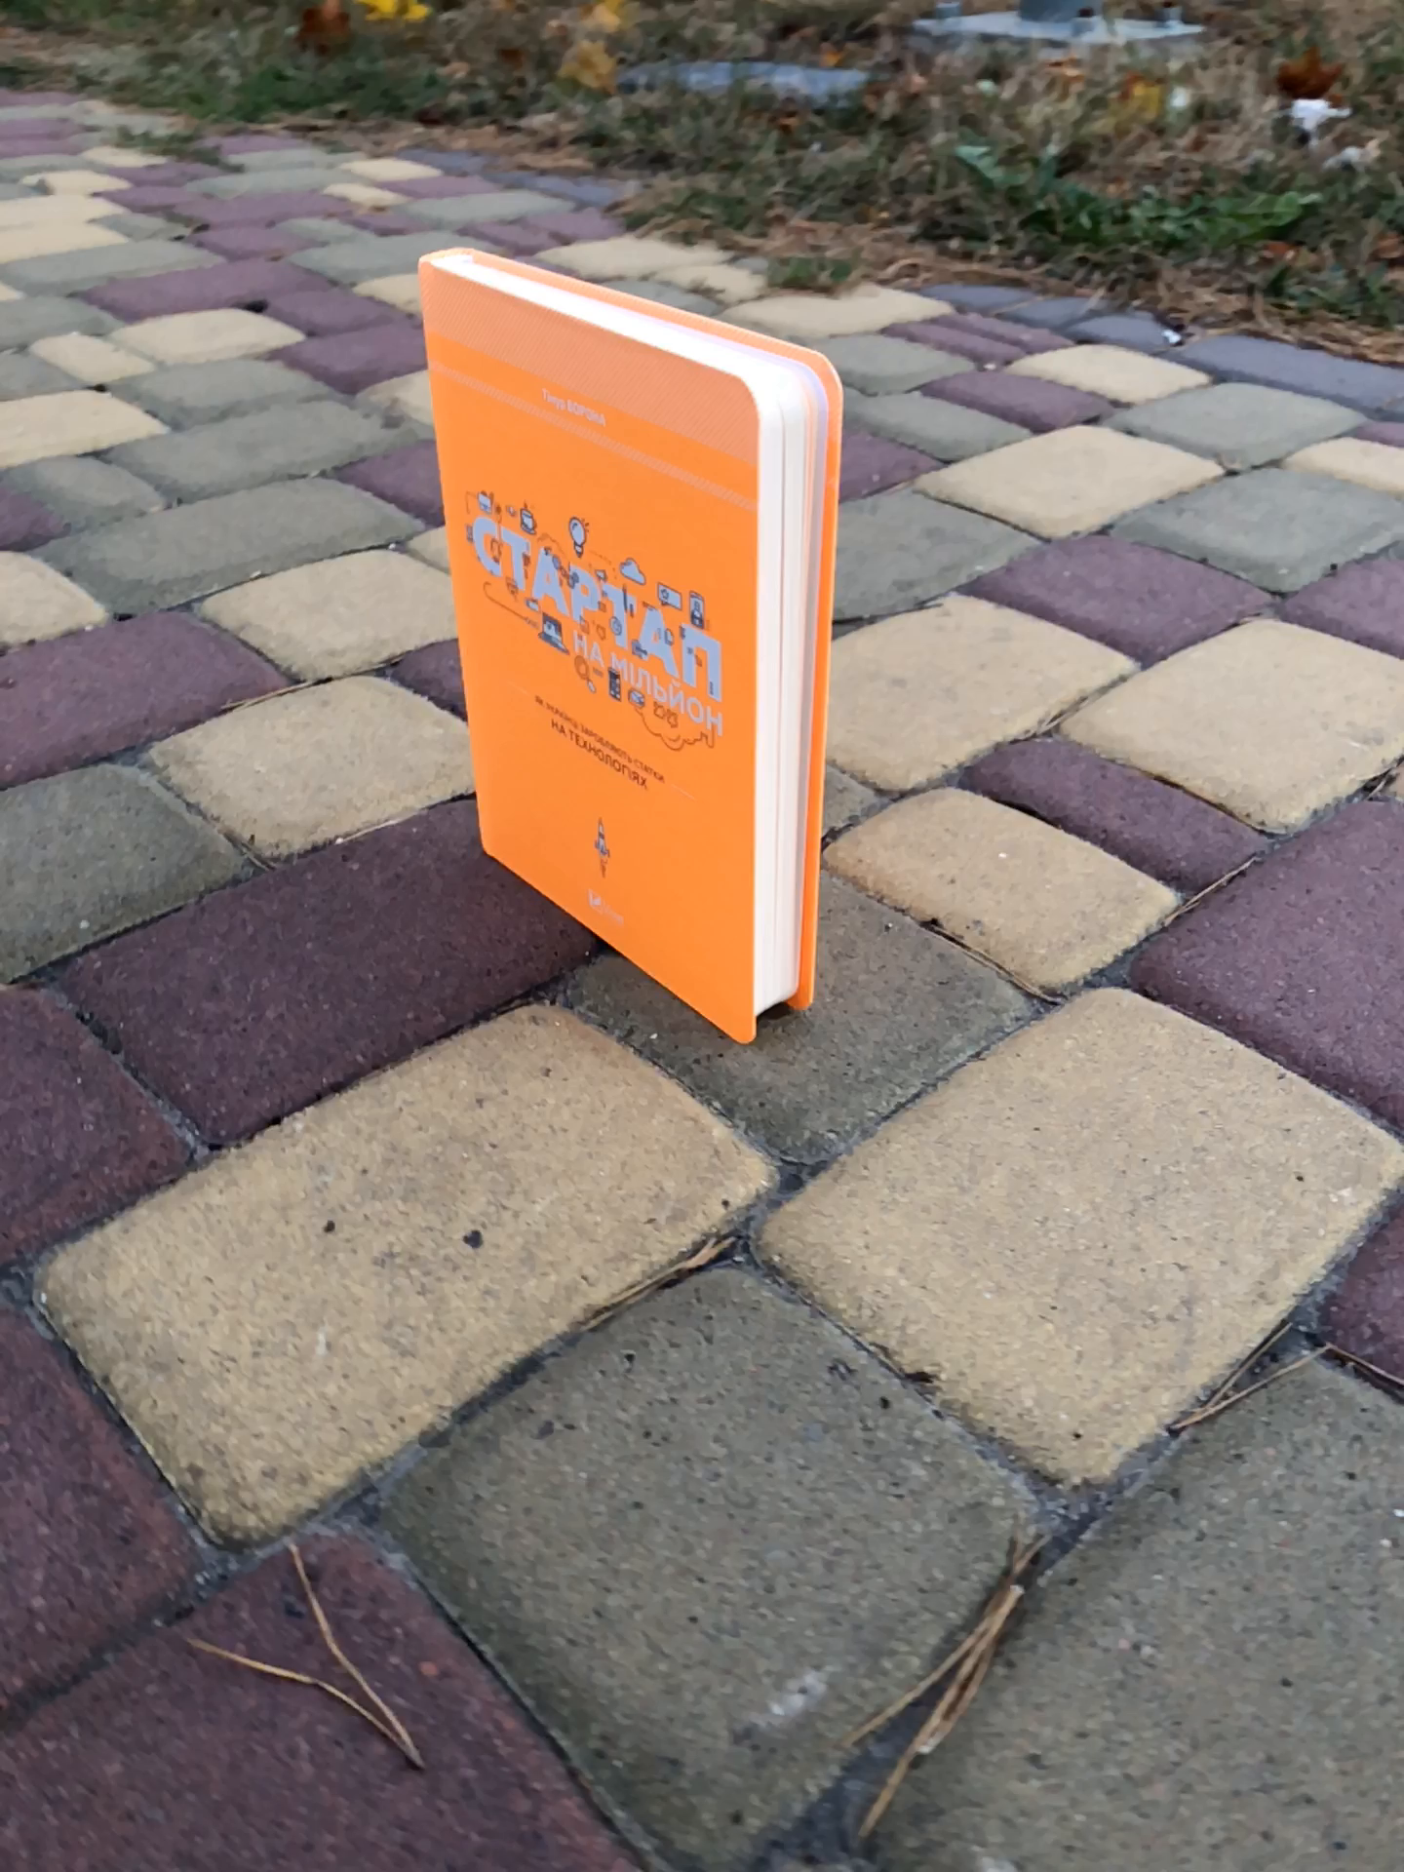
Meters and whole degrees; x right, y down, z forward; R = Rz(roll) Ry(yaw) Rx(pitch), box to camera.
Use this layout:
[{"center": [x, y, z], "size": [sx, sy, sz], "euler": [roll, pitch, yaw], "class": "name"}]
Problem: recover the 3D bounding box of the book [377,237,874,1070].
[{"center": [-0.027, -0.086, 0.466], "size": [0.040, 0.200, 0.164], "euler": [-26, 43, -31], "class": "book"}]
